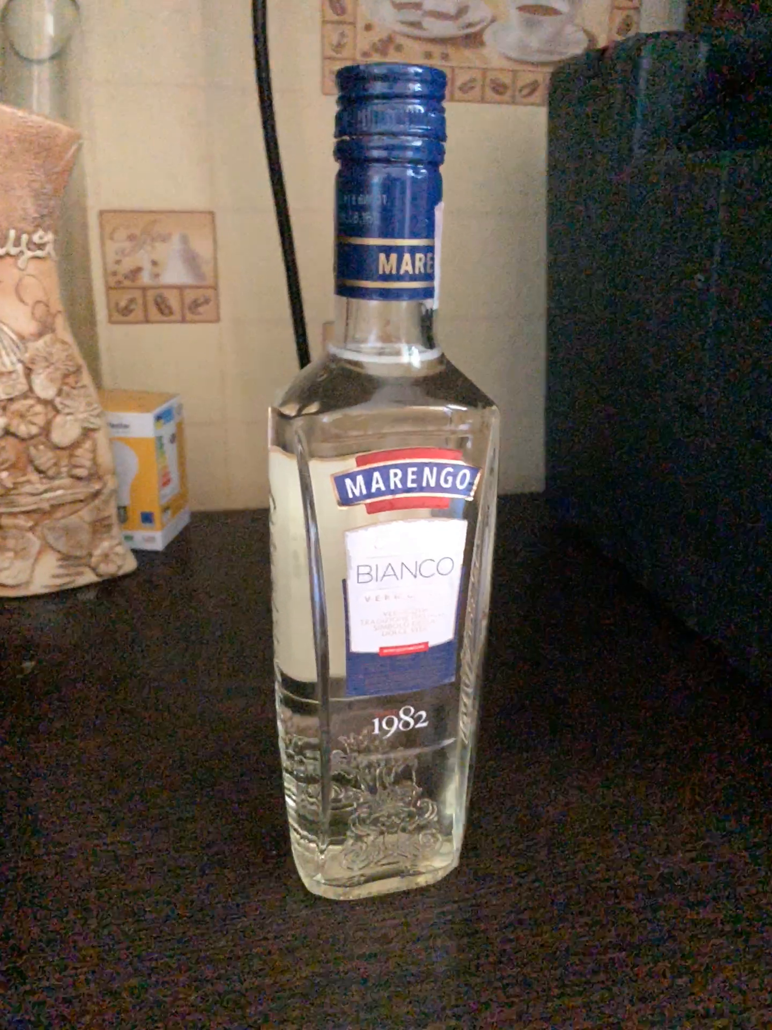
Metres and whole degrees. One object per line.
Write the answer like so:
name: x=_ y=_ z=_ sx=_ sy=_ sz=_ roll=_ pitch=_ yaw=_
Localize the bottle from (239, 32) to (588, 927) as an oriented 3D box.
bottle: x=0.001 y=0.006 z=0.279 sx=0.090 sy=0.289 sz=0.050 roll=-3 pitch=21 yaw=-13
